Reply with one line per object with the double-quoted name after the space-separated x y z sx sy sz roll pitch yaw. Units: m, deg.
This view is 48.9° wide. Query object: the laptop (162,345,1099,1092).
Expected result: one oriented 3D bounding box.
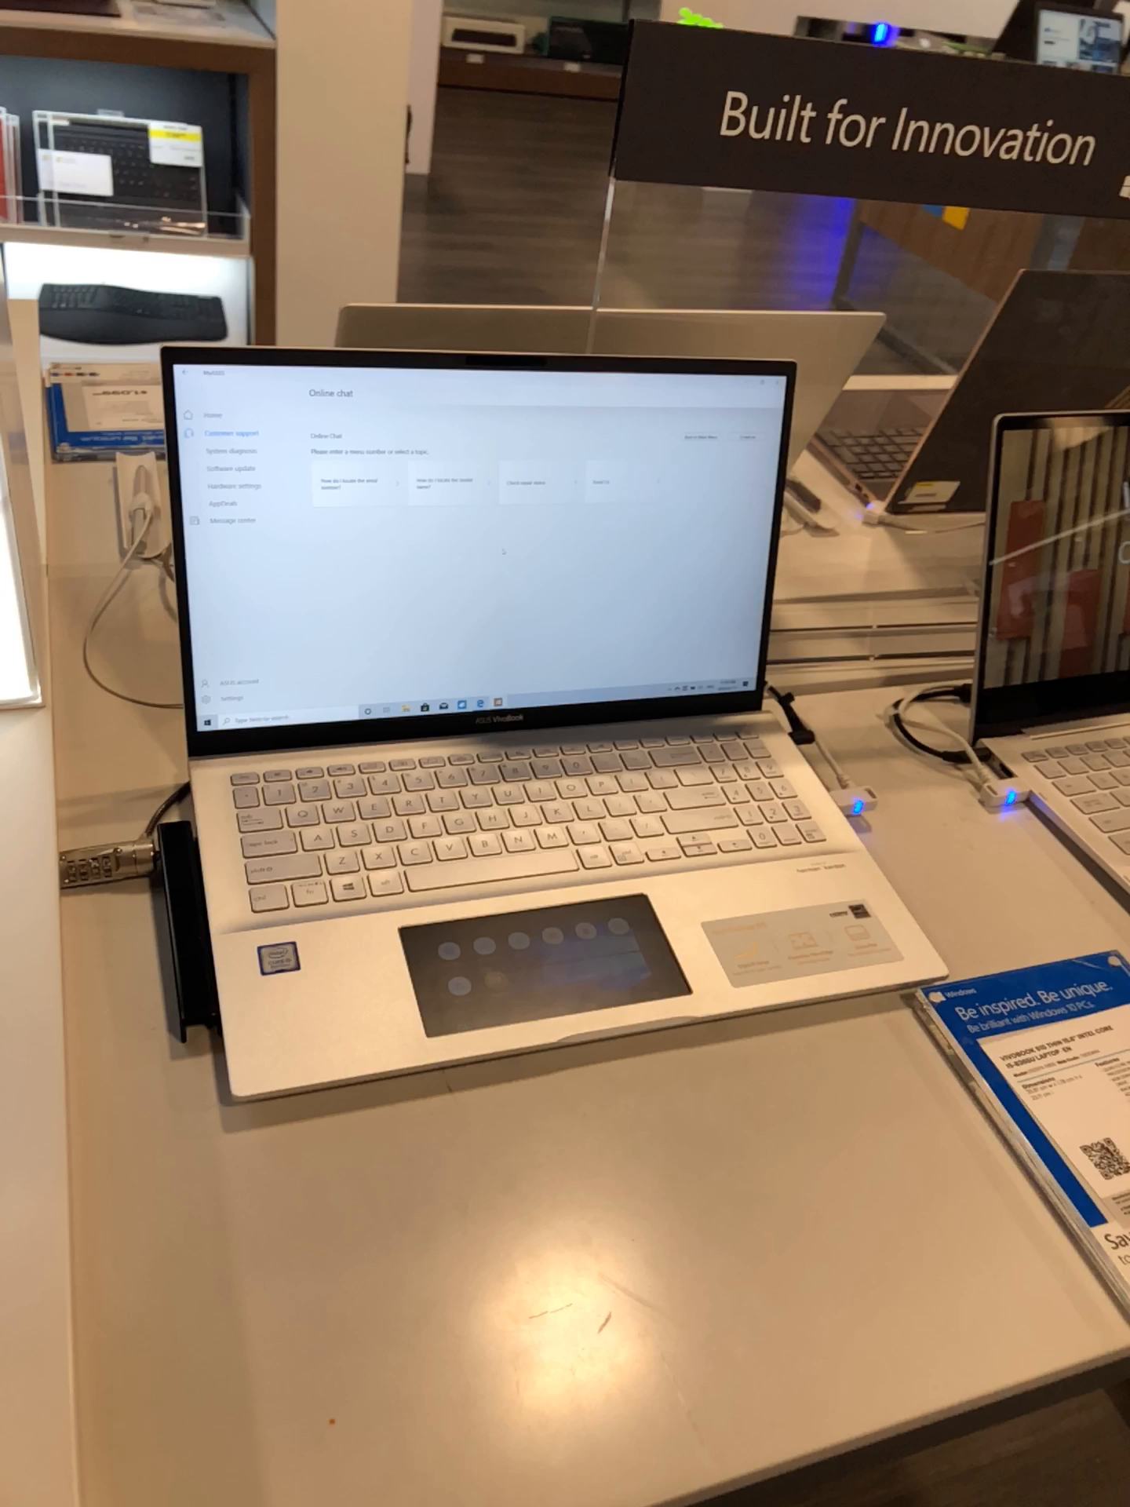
-0.004 -0.044 0.587 0.330 0.189 0.285 -5 39 -19 "laptop"
